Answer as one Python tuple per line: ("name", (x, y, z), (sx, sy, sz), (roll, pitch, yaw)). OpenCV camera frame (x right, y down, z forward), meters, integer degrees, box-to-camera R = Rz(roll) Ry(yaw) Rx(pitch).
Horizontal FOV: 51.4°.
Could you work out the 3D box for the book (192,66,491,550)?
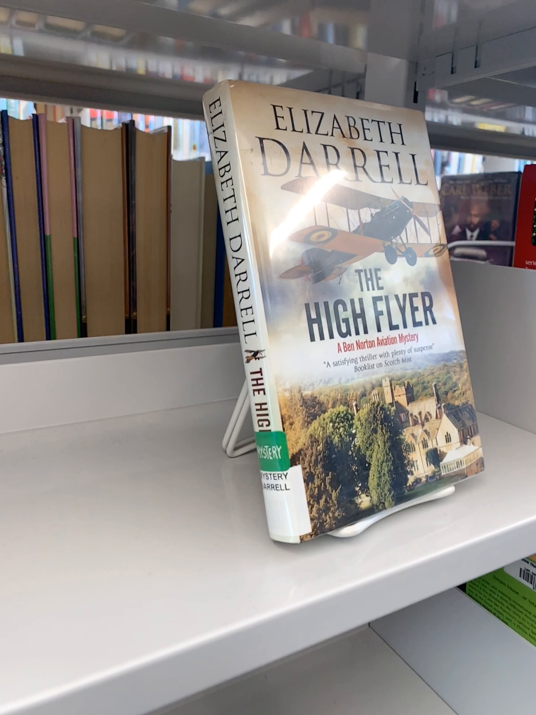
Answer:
("book", (0.048, -0.030, 0.301), (0.151, 0.214, 0.031), (-8, 0, -36))
